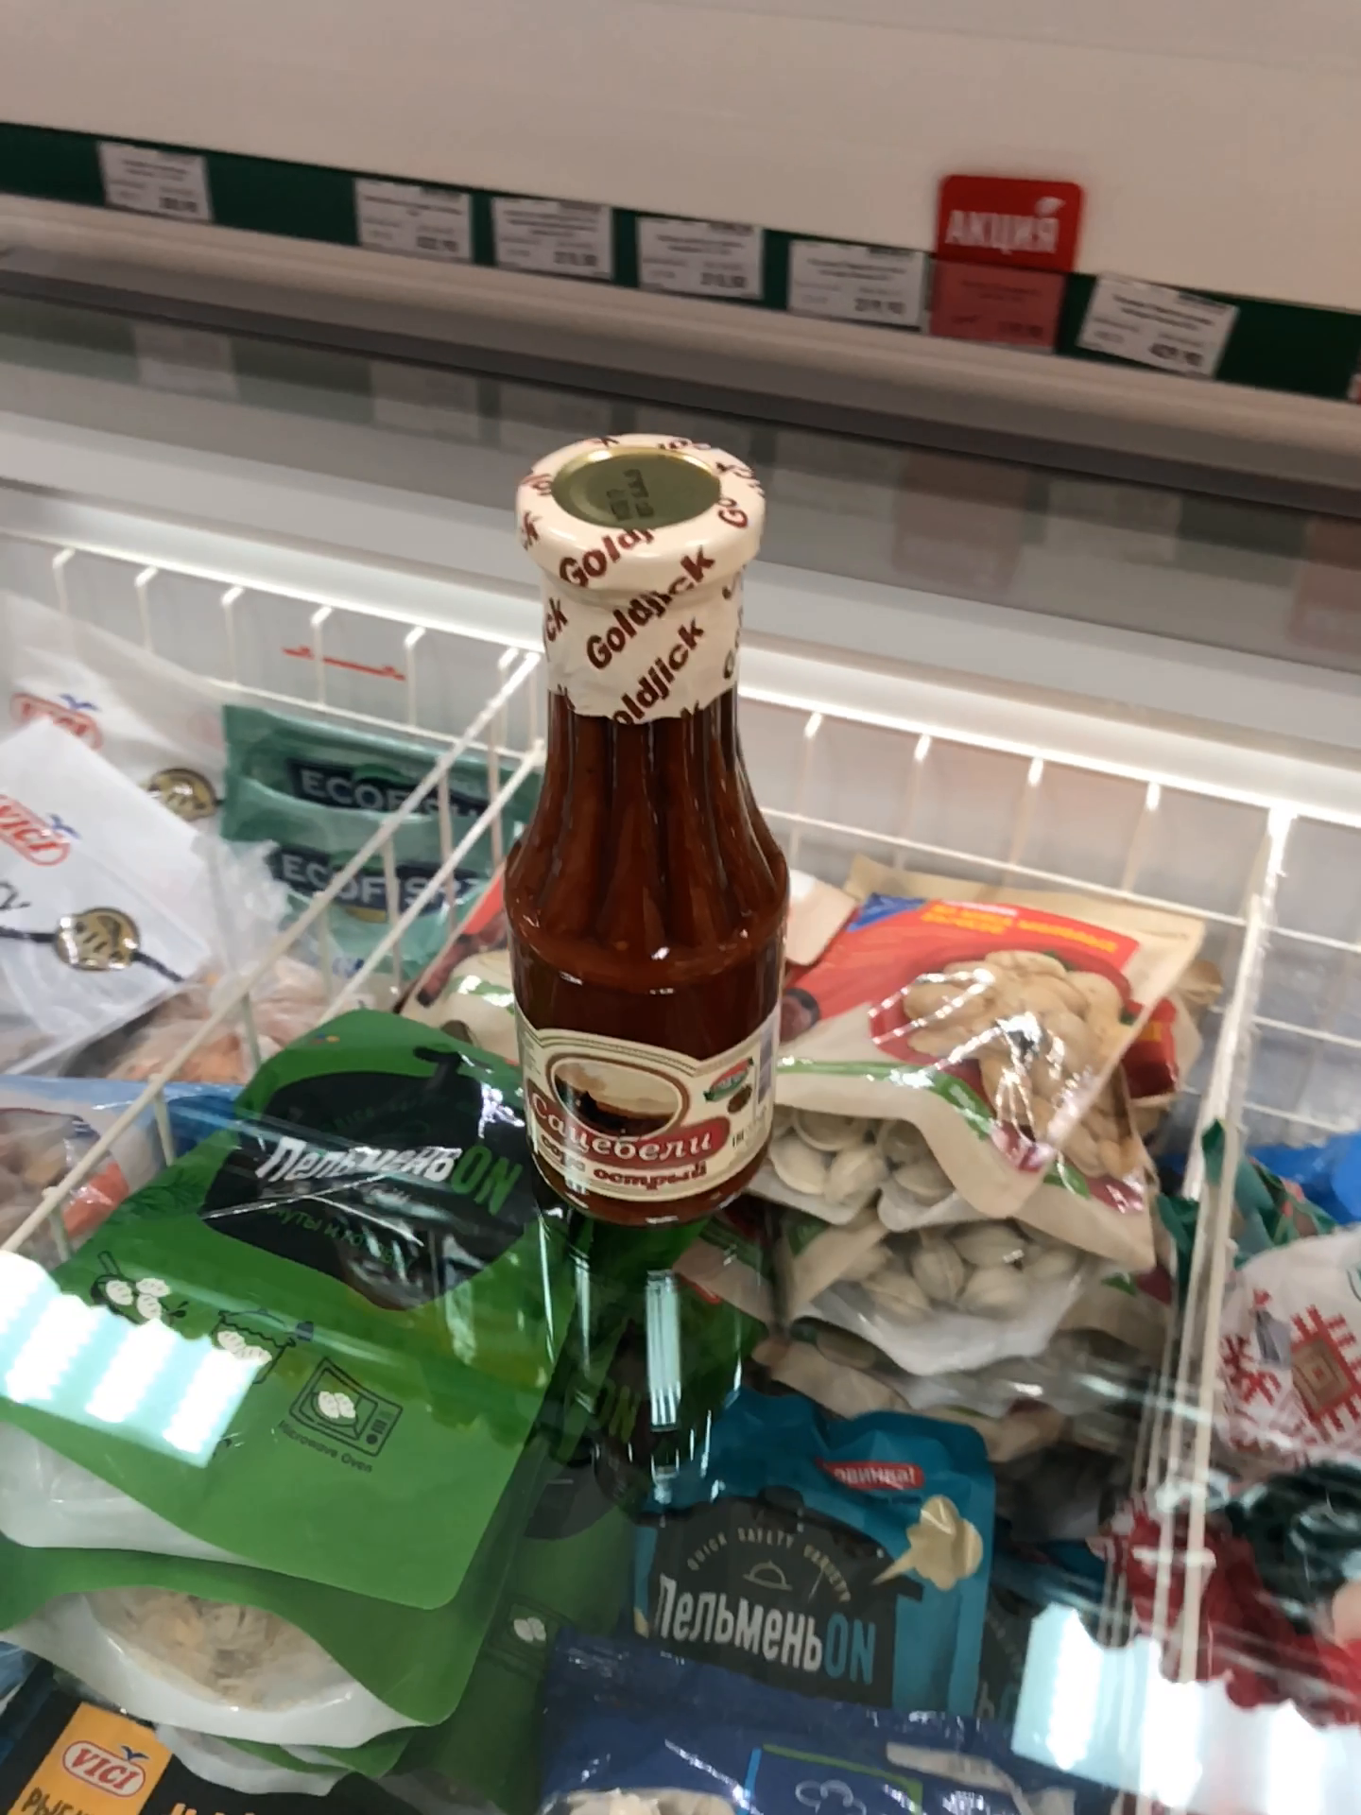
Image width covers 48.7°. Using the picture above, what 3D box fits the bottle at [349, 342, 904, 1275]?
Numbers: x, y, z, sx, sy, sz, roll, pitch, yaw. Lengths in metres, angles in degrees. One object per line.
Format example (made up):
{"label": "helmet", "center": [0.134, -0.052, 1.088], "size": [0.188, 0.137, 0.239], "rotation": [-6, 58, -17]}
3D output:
{"label": "bottle", "center": [-0.009, -0.015, 0.330], "size": [0.080, 0.179, 0.080], "rotation": [2, 41, -1]}
